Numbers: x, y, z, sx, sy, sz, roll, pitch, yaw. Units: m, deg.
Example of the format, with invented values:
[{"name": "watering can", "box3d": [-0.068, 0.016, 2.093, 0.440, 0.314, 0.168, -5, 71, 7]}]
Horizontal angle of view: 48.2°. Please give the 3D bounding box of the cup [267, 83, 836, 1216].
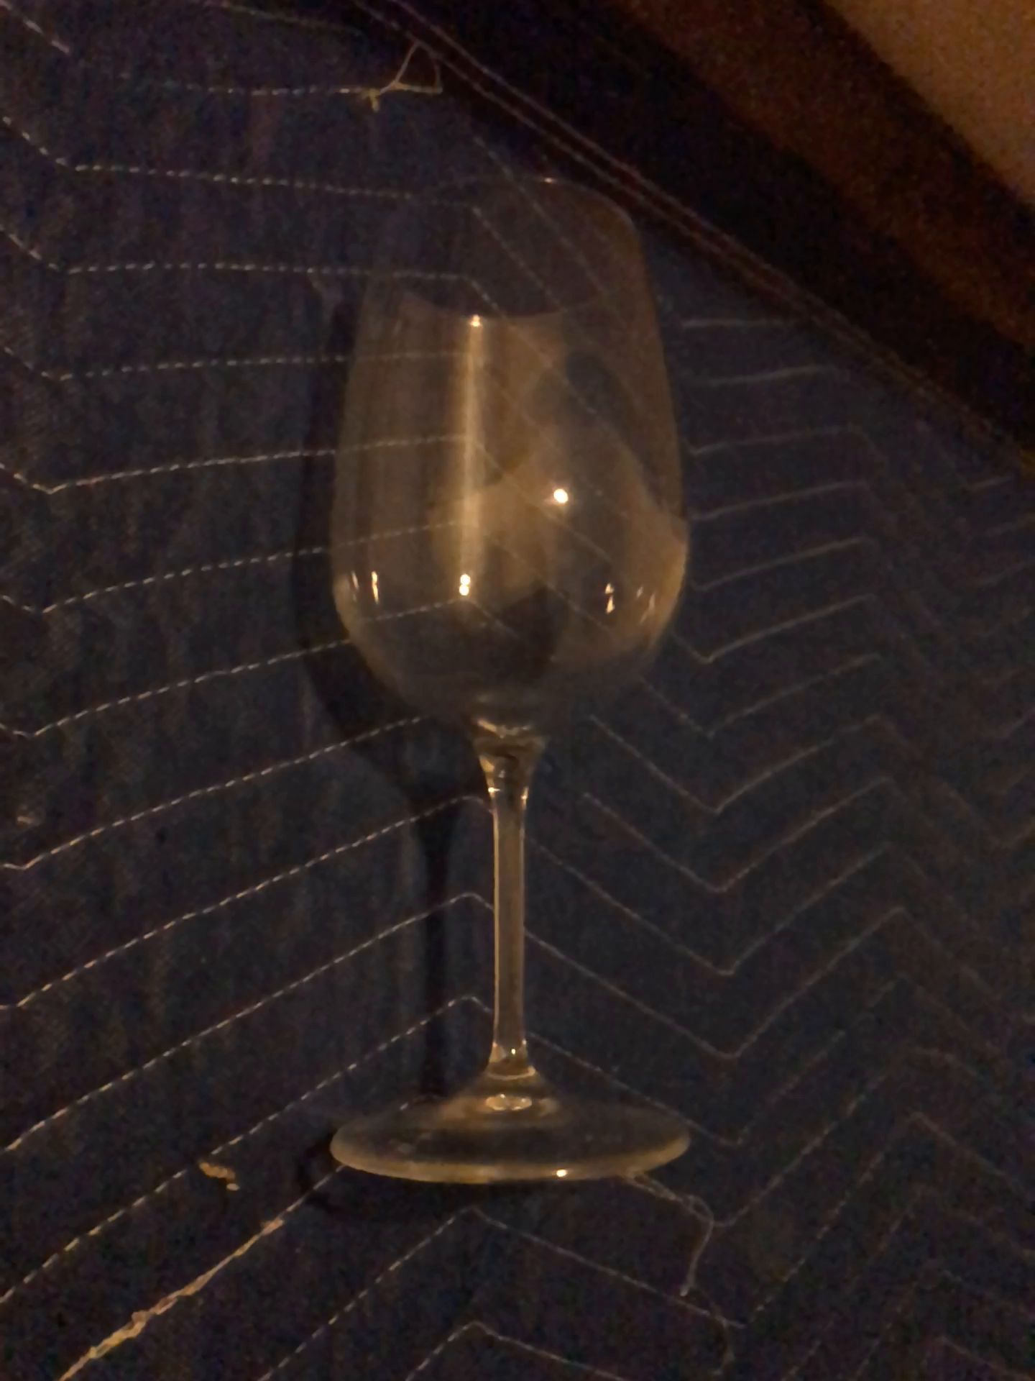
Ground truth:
[{"name": "cup", "box3d": [0.005, -0.005, 0.266, 0.081, 0.089, 0.210, 11, 73, -43]}]
